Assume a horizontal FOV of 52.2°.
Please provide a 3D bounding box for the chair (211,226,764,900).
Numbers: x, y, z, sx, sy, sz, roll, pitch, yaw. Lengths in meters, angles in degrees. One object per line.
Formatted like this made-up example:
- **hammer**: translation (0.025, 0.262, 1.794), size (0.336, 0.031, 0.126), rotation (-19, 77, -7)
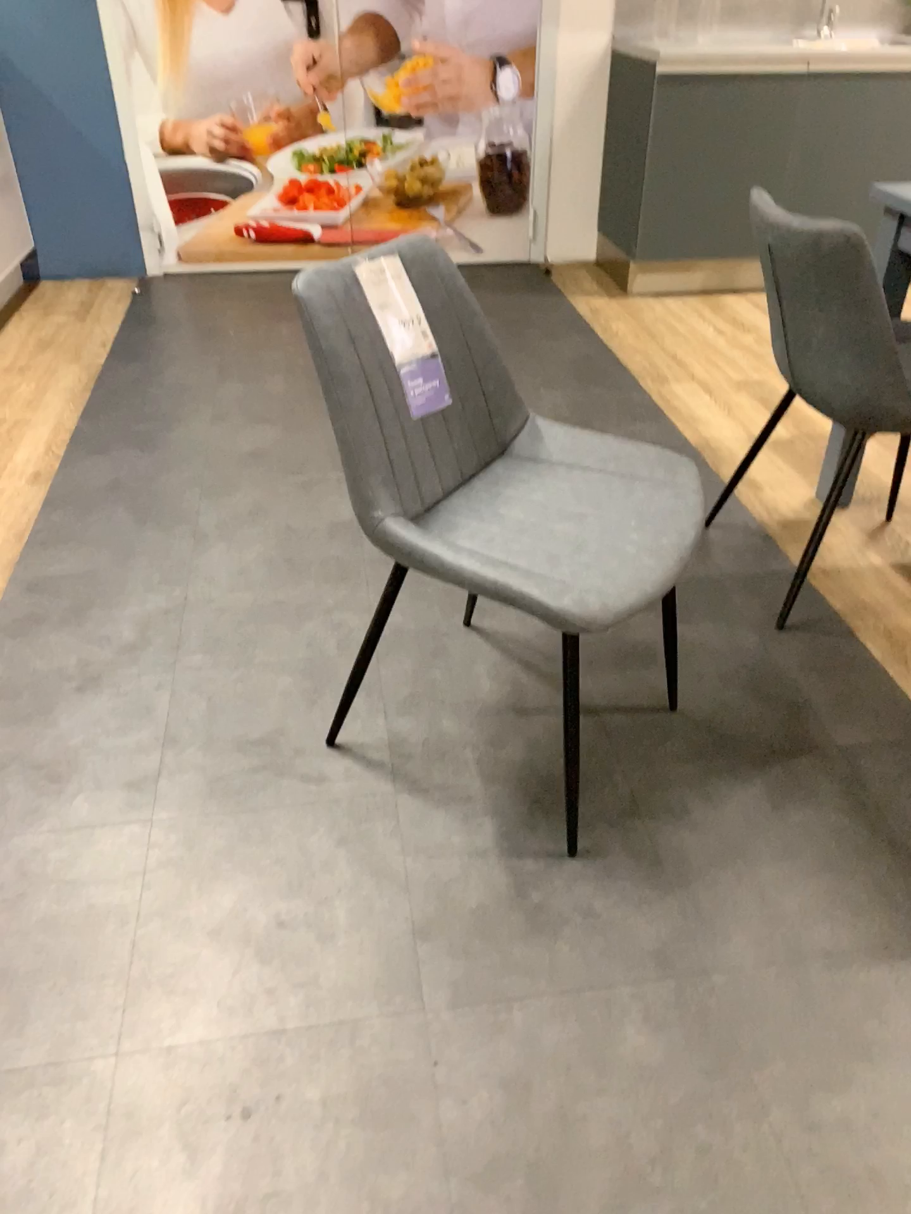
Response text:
- **chair**: translation (0.060, -0.101, 1.536), size (0.589, 0.833, 0.525), rotation (20, 39, 26)
